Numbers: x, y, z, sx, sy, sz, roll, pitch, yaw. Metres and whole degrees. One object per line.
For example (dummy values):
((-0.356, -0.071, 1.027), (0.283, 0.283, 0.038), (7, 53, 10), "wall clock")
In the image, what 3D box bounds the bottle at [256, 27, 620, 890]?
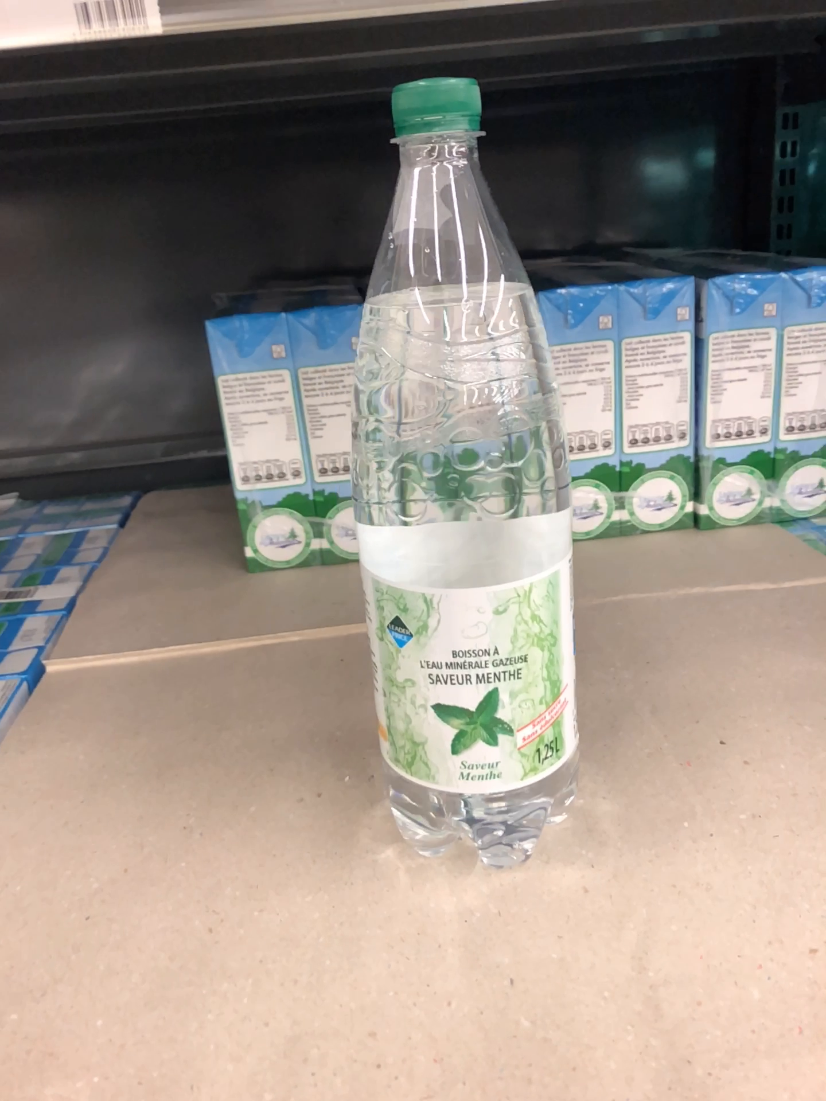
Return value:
((0.019, -0.022, 0.356), (0.100, 0.299, 0.090), (-5, 21, 2), "bottle")
